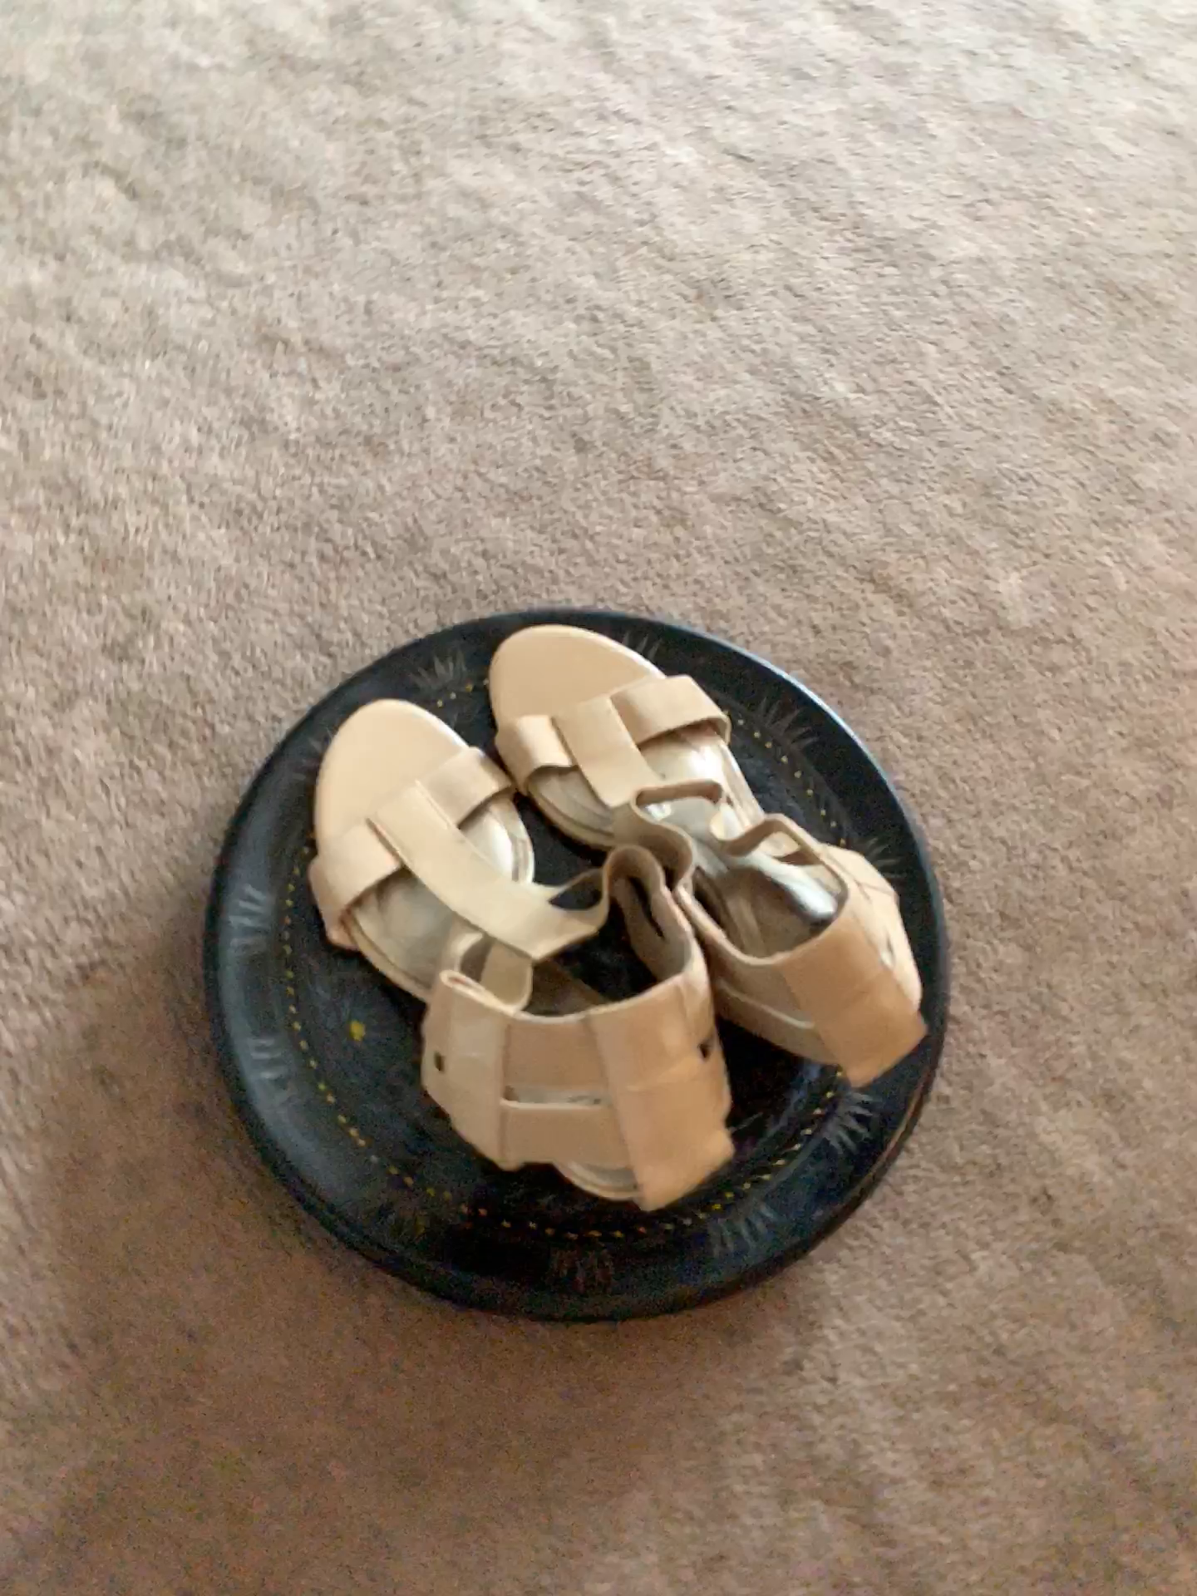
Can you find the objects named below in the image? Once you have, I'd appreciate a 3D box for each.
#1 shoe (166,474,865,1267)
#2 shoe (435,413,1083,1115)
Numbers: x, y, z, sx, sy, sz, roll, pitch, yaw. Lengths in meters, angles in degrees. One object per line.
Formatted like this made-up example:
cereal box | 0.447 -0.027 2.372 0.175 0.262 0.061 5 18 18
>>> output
shoe | -0.034 0.024 0.399 0.100 0.099 0.220 -30 73 -17
shoe | 0.043 -0.011 0.438 0.090 0.099 0.220 -34 75 -18
